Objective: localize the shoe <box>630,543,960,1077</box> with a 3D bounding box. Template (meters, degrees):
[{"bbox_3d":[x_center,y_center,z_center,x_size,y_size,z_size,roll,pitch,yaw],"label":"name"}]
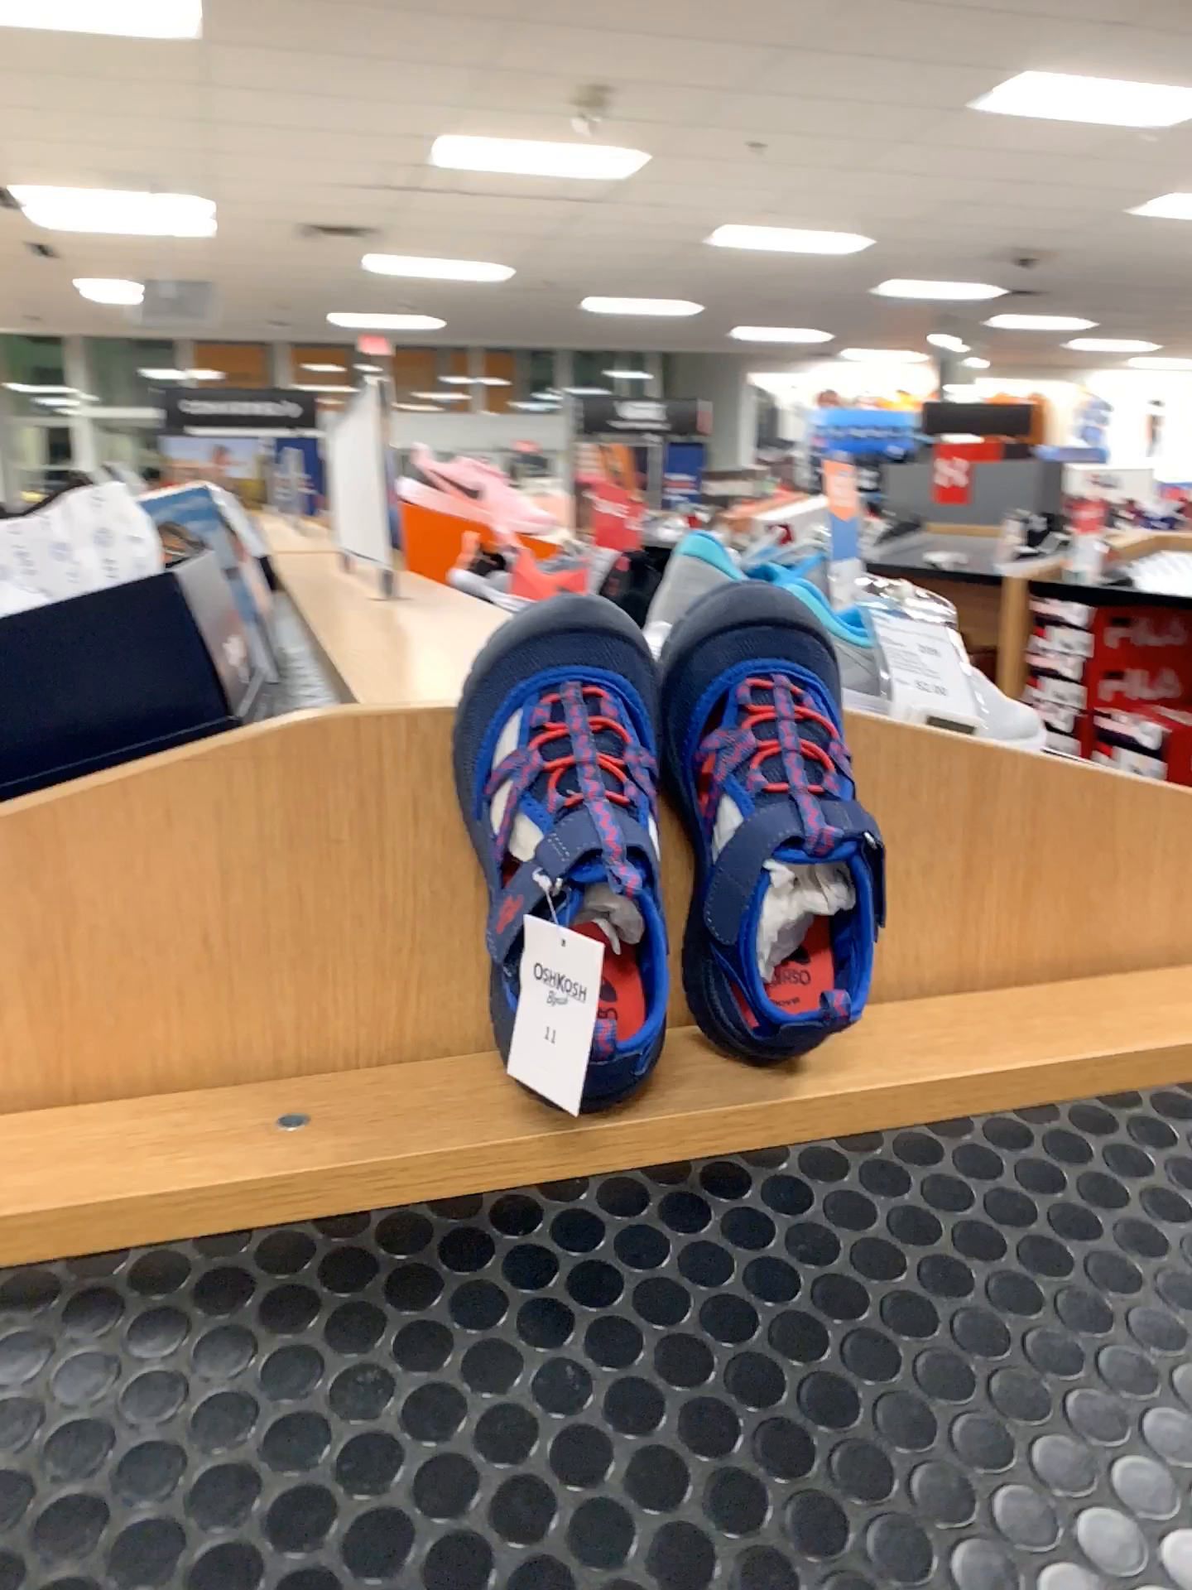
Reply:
[{"bbox_3d":[0.073,0.006,0.483,0.080,0.190,0.080,-4,-7,-16],"label":"shoe"}]

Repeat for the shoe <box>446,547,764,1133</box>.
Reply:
[{"bbox_3d":[-0.003,0.016,0.454,0.080,0.190,0.100,-4,-7,-13],"label":"shoe"}]
